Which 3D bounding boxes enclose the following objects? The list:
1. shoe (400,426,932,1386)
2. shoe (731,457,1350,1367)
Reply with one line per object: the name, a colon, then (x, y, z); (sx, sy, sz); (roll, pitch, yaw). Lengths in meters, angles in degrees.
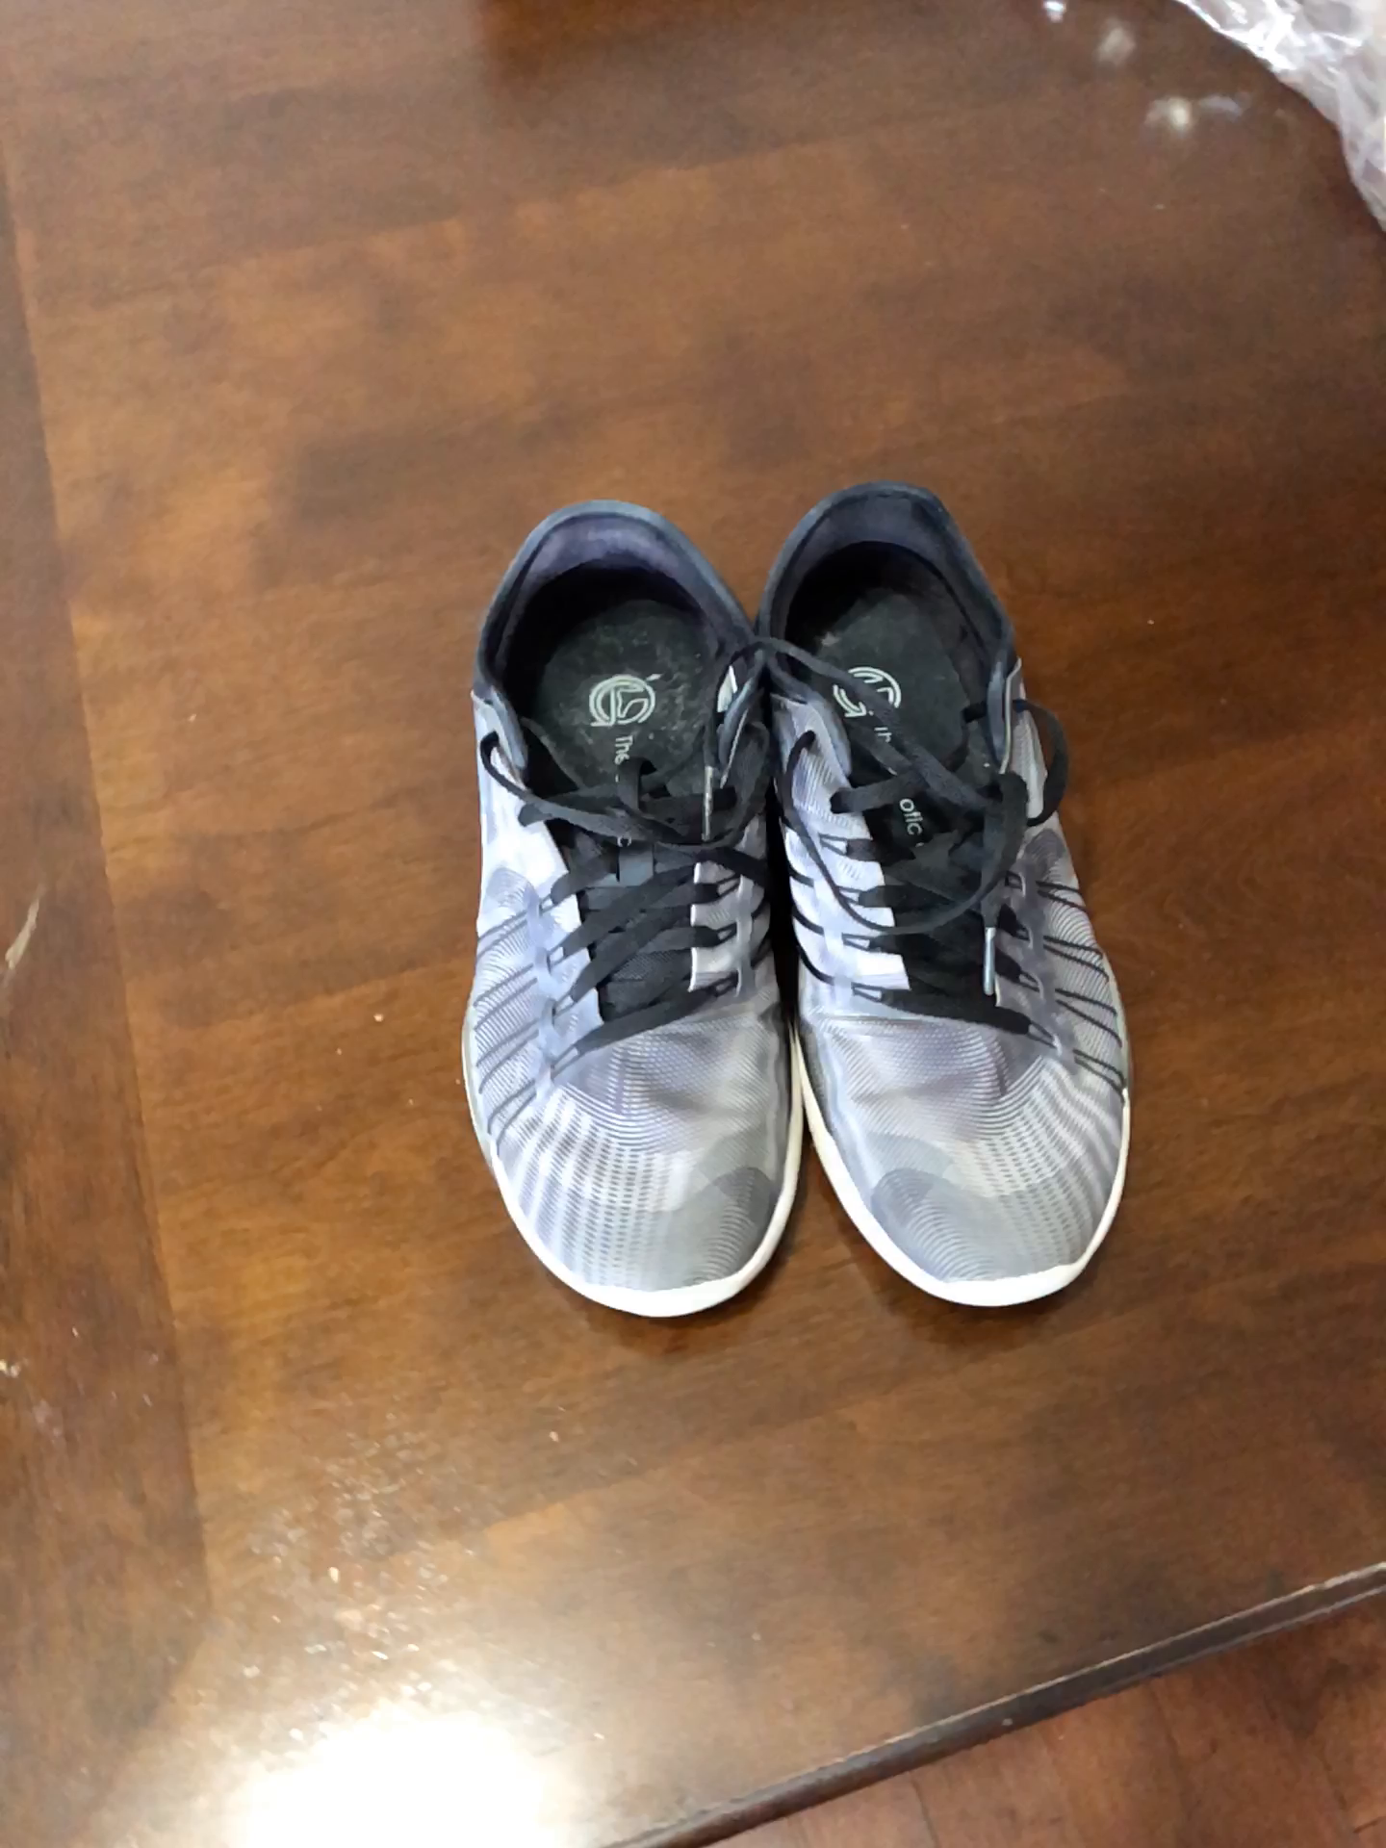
shoe: (-0.015, -0.011, 0.407); (0.100, 0.090, 0.230); (-7, 61, -3)
shoe: (0.078, -0.011, 0.422); (0.100, 0.080, 0.230); (-8, 61, -3)
